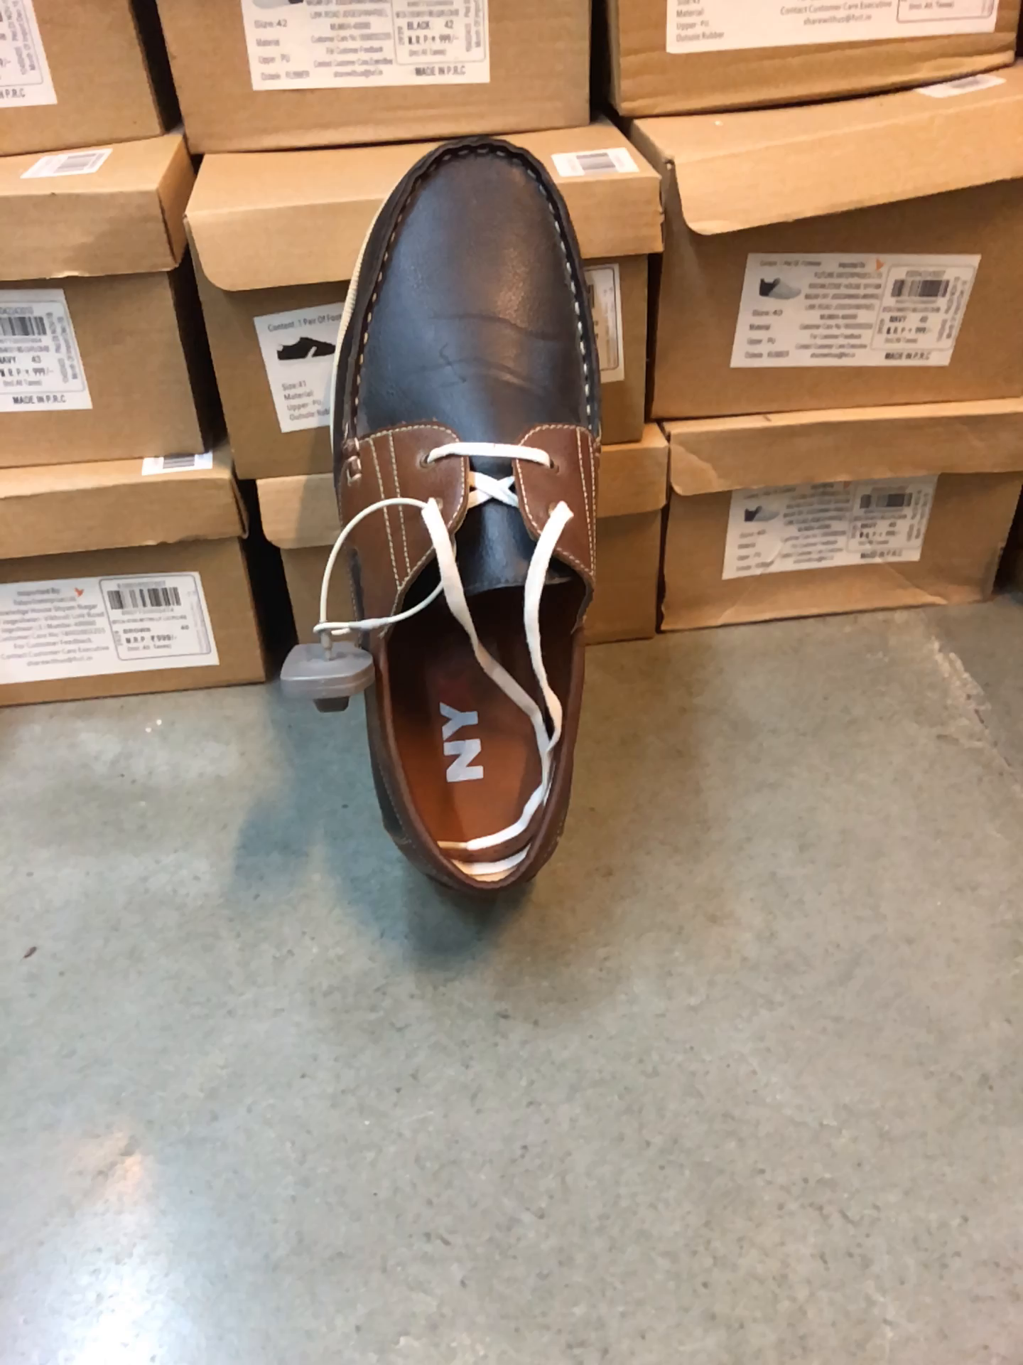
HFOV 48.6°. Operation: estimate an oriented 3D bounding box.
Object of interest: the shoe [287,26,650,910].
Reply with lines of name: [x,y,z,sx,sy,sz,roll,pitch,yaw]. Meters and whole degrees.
shoe: [-0.013,-0.066,0.394,0.102,0.264,0.099,-2,2,-1]
